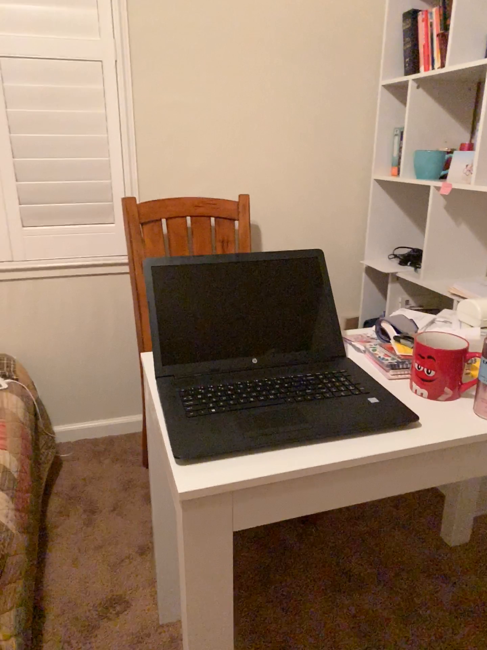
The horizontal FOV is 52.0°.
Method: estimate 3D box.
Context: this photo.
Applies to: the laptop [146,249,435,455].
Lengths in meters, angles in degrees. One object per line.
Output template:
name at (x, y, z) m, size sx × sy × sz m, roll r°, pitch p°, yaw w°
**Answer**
laptop at (0.044, 0.007, 0.932) m, size 0.400 × 0.197 × 0.418 m, roll -5°, pitch 21°, yaw -14°
